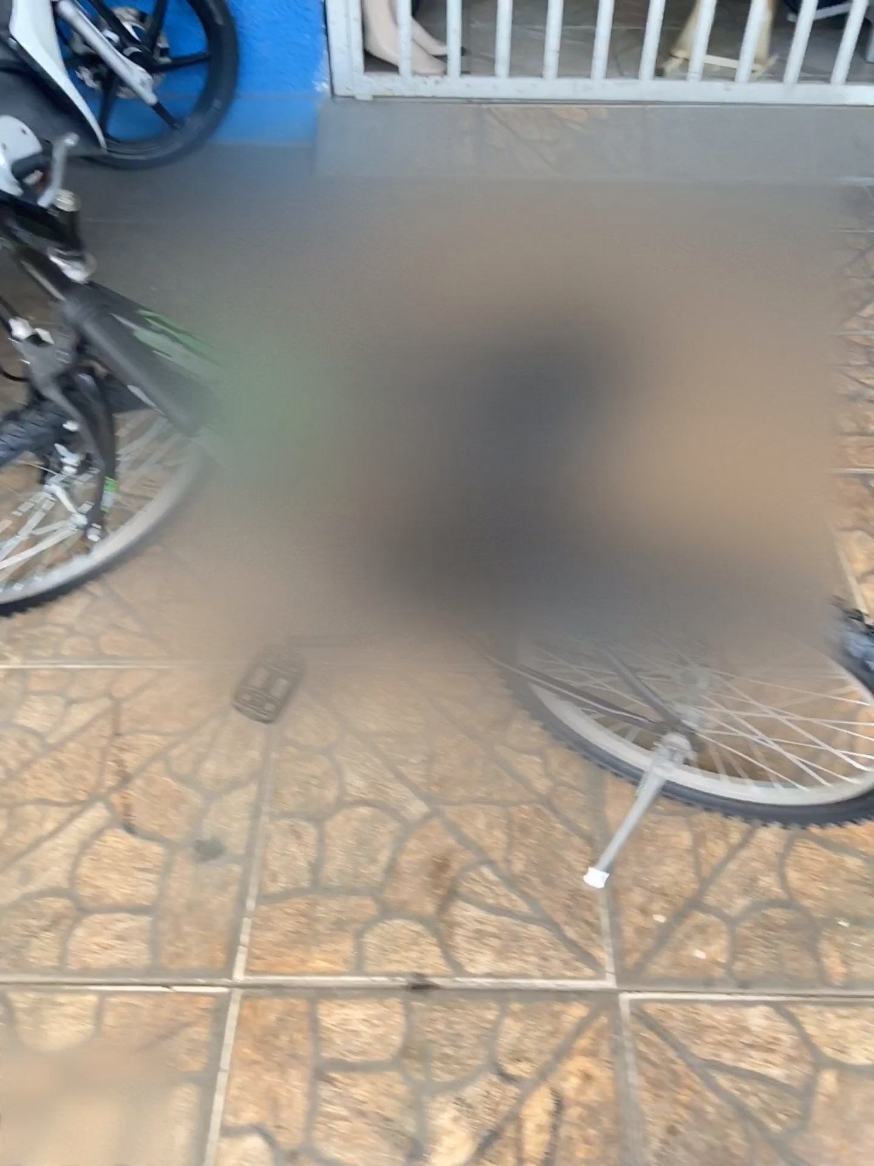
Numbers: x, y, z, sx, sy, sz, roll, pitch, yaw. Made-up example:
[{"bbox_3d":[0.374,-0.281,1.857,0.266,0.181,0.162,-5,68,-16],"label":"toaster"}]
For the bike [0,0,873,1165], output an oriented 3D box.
[{"bbox_3d":[-0.109,-0.003,0.900,1.269,0.934,0.602,10,47,12],"label":"bike"}]
